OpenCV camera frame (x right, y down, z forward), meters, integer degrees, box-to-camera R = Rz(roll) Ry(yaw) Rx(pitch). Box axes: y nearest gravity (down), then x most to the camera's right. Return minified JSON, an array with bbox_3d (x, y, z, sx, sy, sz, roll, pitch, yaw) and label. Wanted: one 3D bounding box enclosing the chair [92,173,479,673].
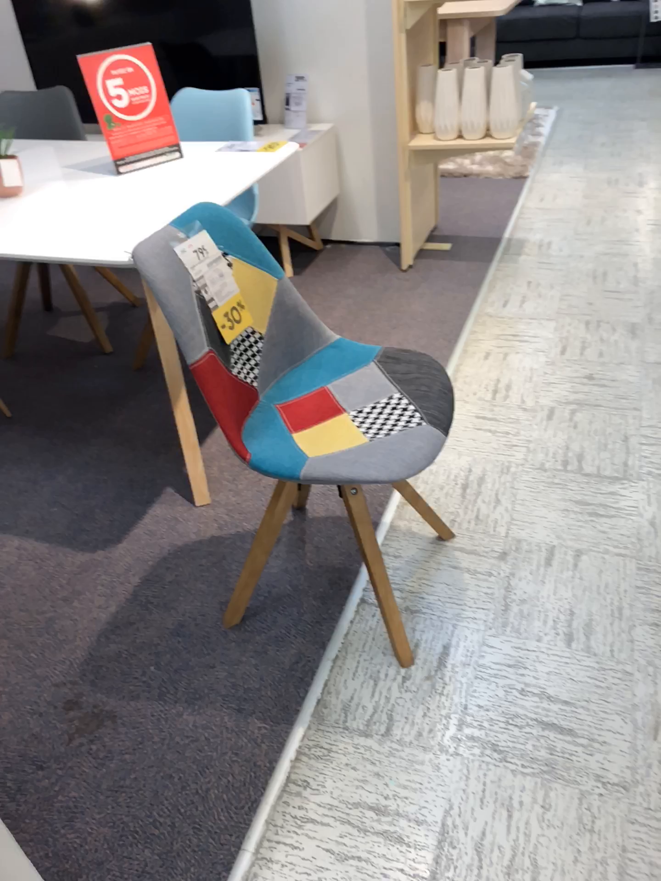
[{"bbox_3d":[-0.014,-0.041,1.437,0.510,0.815,0.473,7,37,18],"label":"chair"}]
